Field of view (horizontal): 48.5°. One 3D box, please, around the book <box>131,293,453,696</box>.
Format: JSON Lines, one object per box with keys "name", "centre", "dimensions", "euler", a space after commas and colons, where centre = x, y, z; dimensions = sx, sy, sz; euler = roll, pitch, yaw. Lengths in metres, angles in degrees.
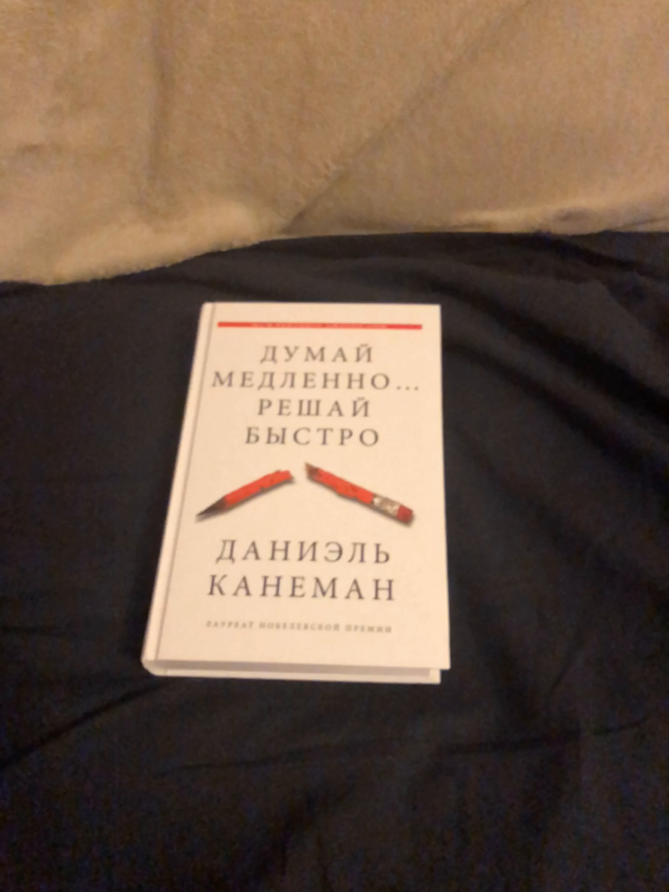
{"name": "book", "centre": [-0.013, 0.018, 0.415], "dimensions": [0.149, 0.050, 0.220], "euler": [1, 61, 4]}
